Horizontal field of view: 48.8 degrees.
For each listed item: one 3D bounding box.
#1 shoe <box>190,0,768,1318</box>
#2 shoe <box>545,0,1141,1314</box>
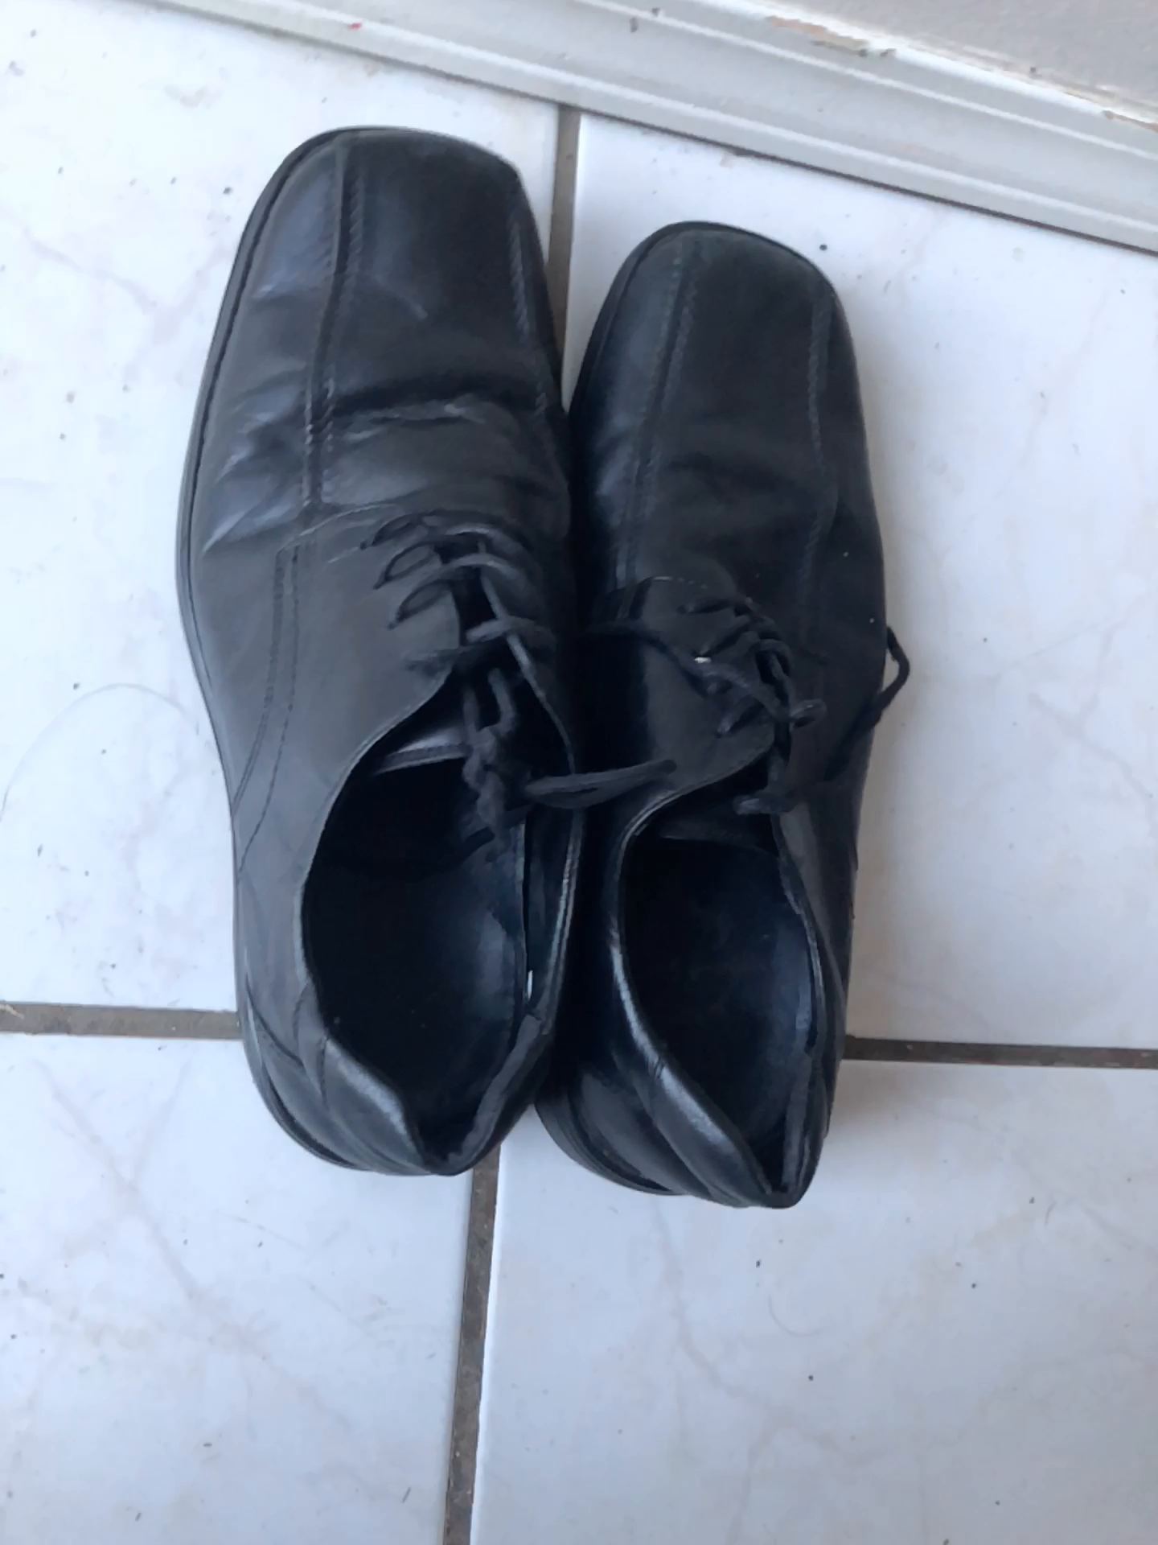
[{"bbox_3d":[-0.032,-0.038,0.316,0.120,0.100,0.290,0,87,-17],"label":"shoe"},{"bbox_3d":[0.064,-0.027,0.335,0.110,0.100,0.290,4,86,-16],"label":"shoe"}]
